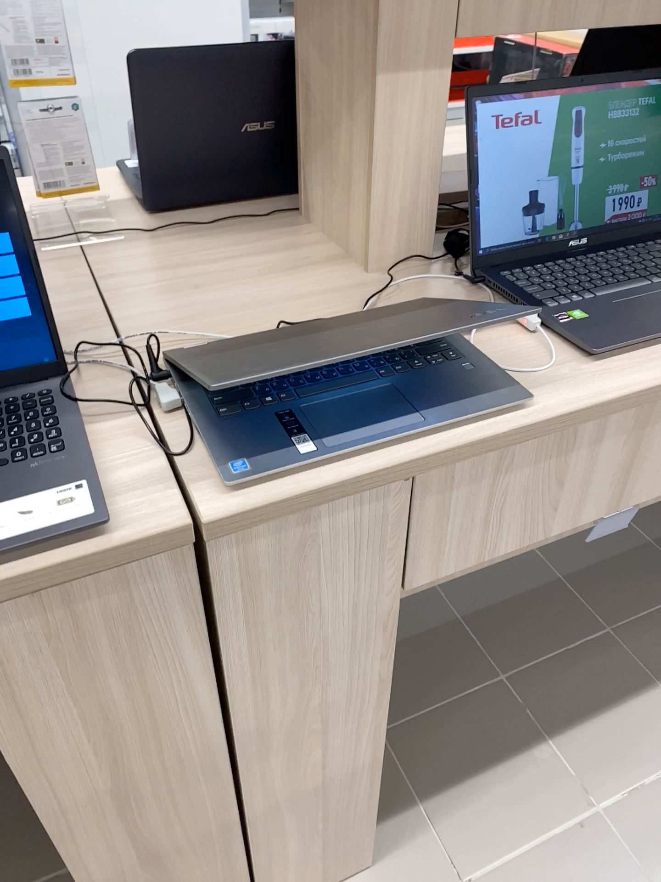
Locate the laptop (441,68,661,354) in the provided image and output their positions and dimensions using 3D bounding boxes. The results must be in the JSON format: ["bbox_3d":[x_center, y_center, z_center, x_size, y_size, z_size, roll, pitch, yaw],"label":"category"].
[{"bbox_3d":[0.405,-0.317,0.862,0.389,0.215,0.304,-16,41,-22],"label":"laptop"}]

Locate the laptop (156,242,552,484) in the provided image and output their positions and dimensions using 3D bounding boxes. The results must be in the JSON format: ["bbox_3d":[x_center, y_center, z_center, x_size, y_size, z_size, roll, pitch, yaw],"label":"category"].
[{"bbox_3d":[0.015,-0.099,0.682,0.325,0.082,0.219,-15,41,-19],"label":"laptop"}]

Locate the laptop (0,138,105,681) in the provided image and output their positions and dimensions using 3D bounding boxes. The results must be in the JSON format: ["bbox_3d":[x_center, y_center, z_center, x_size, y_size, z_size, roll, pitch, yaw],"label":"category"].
[{"bbox_3d":[-0.397,-0.068,0.517,0.352,0.212,0.309,-14,40,-20],"label":"laptop"}]
